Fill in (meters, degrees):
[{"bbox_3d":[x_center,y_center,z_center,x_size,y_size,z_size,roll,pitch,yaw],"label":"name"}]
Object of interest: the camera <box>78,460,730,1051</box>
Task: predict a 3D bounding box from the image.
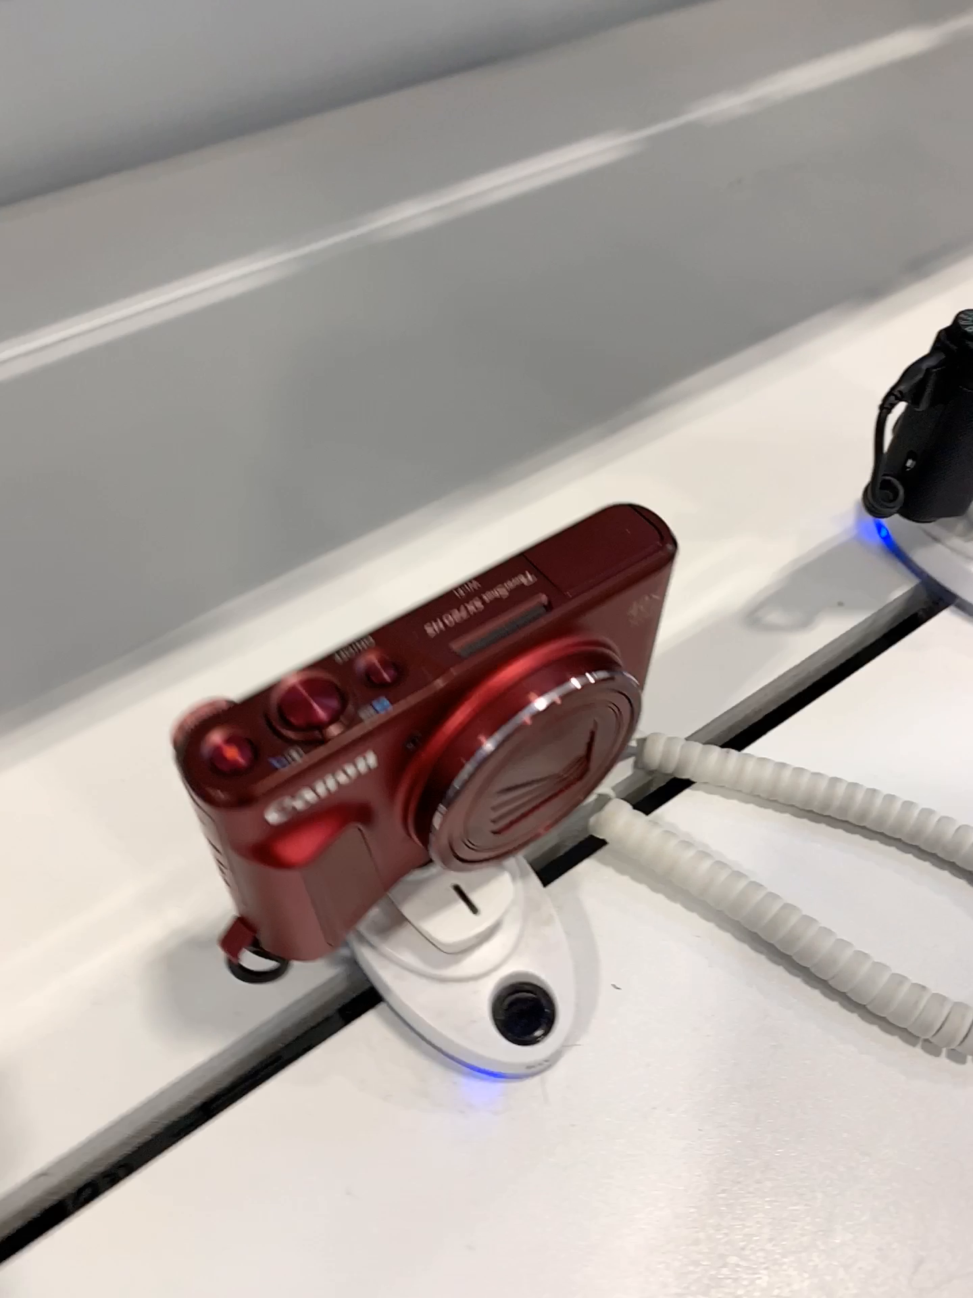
[{"bbox_3d":[-0.011,0.021,0.216,0.120,0.070,0.040,-30,57,-23],"label":"camera"}]
